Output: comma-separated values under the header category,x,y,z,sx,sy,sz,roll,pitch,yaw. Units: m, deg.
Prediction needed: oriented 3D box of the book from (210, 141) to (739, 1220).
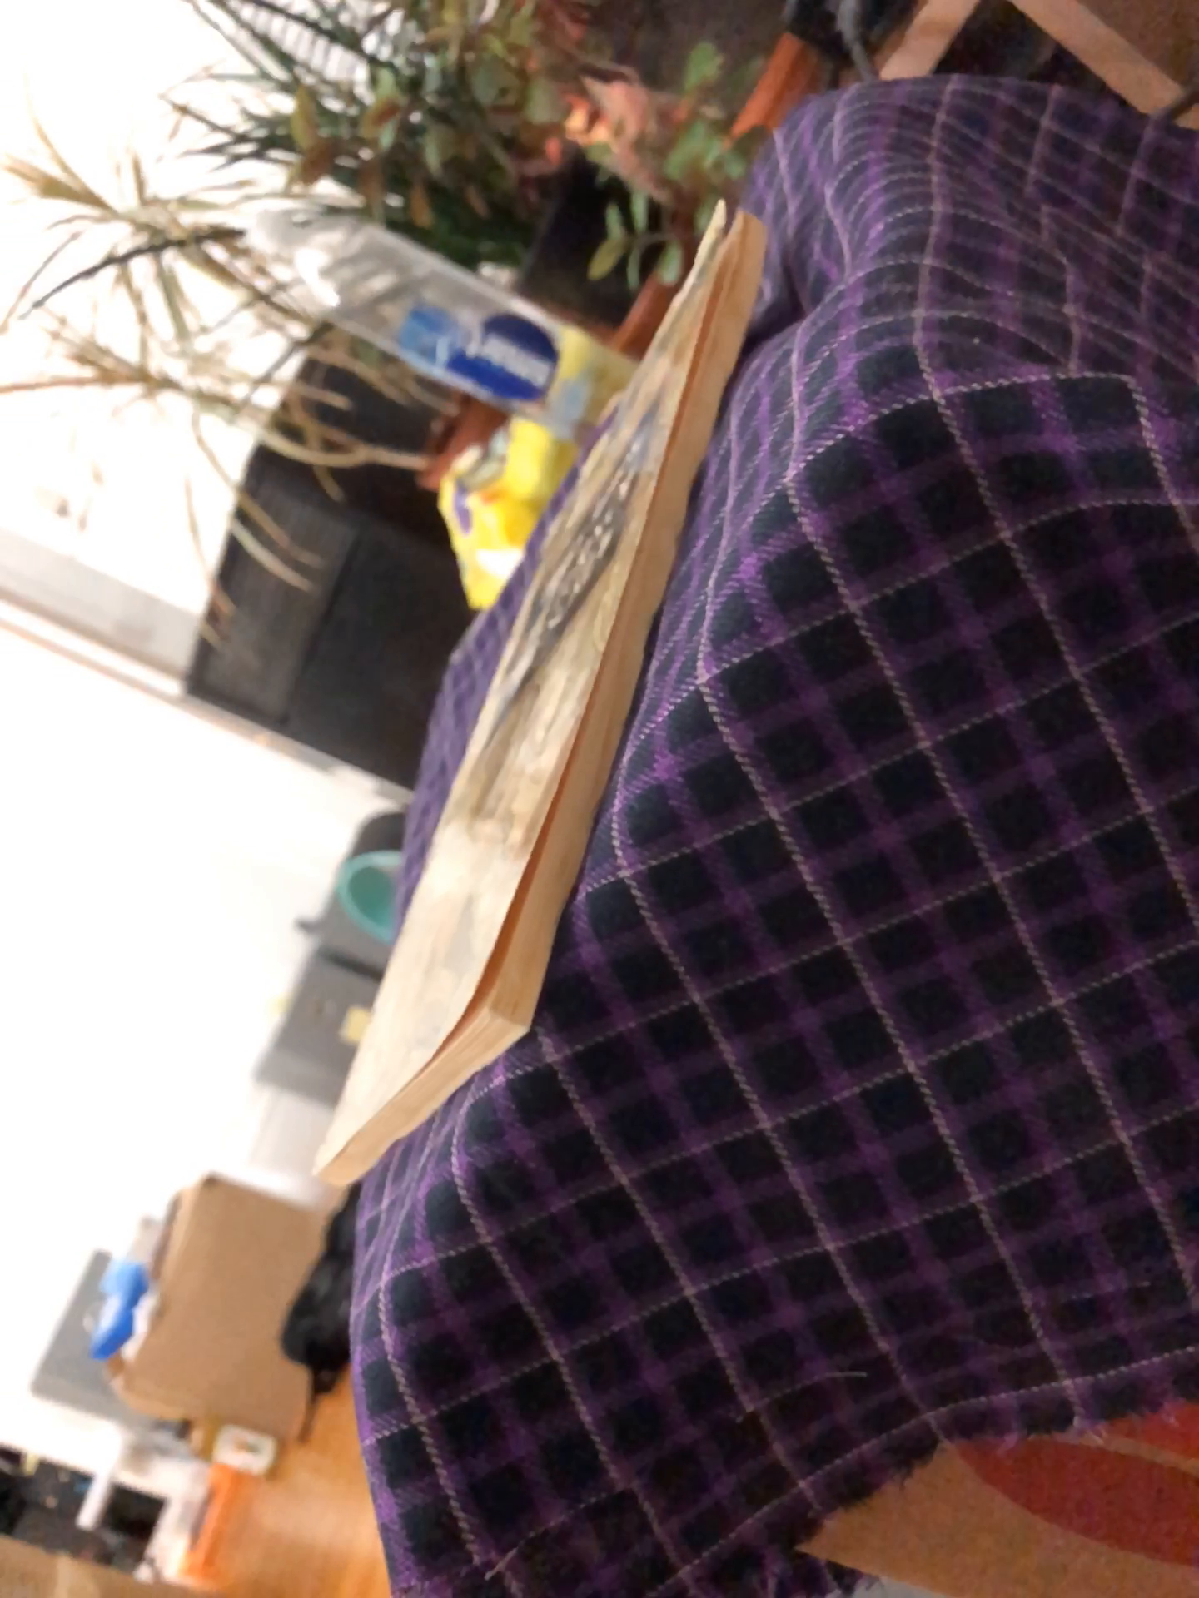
category,x,y,z,sx,sy,sz,roll,pitch,yaw
book,-0.027,-0.027,0.300,0.140,0.010,0.220,-48,21,55
